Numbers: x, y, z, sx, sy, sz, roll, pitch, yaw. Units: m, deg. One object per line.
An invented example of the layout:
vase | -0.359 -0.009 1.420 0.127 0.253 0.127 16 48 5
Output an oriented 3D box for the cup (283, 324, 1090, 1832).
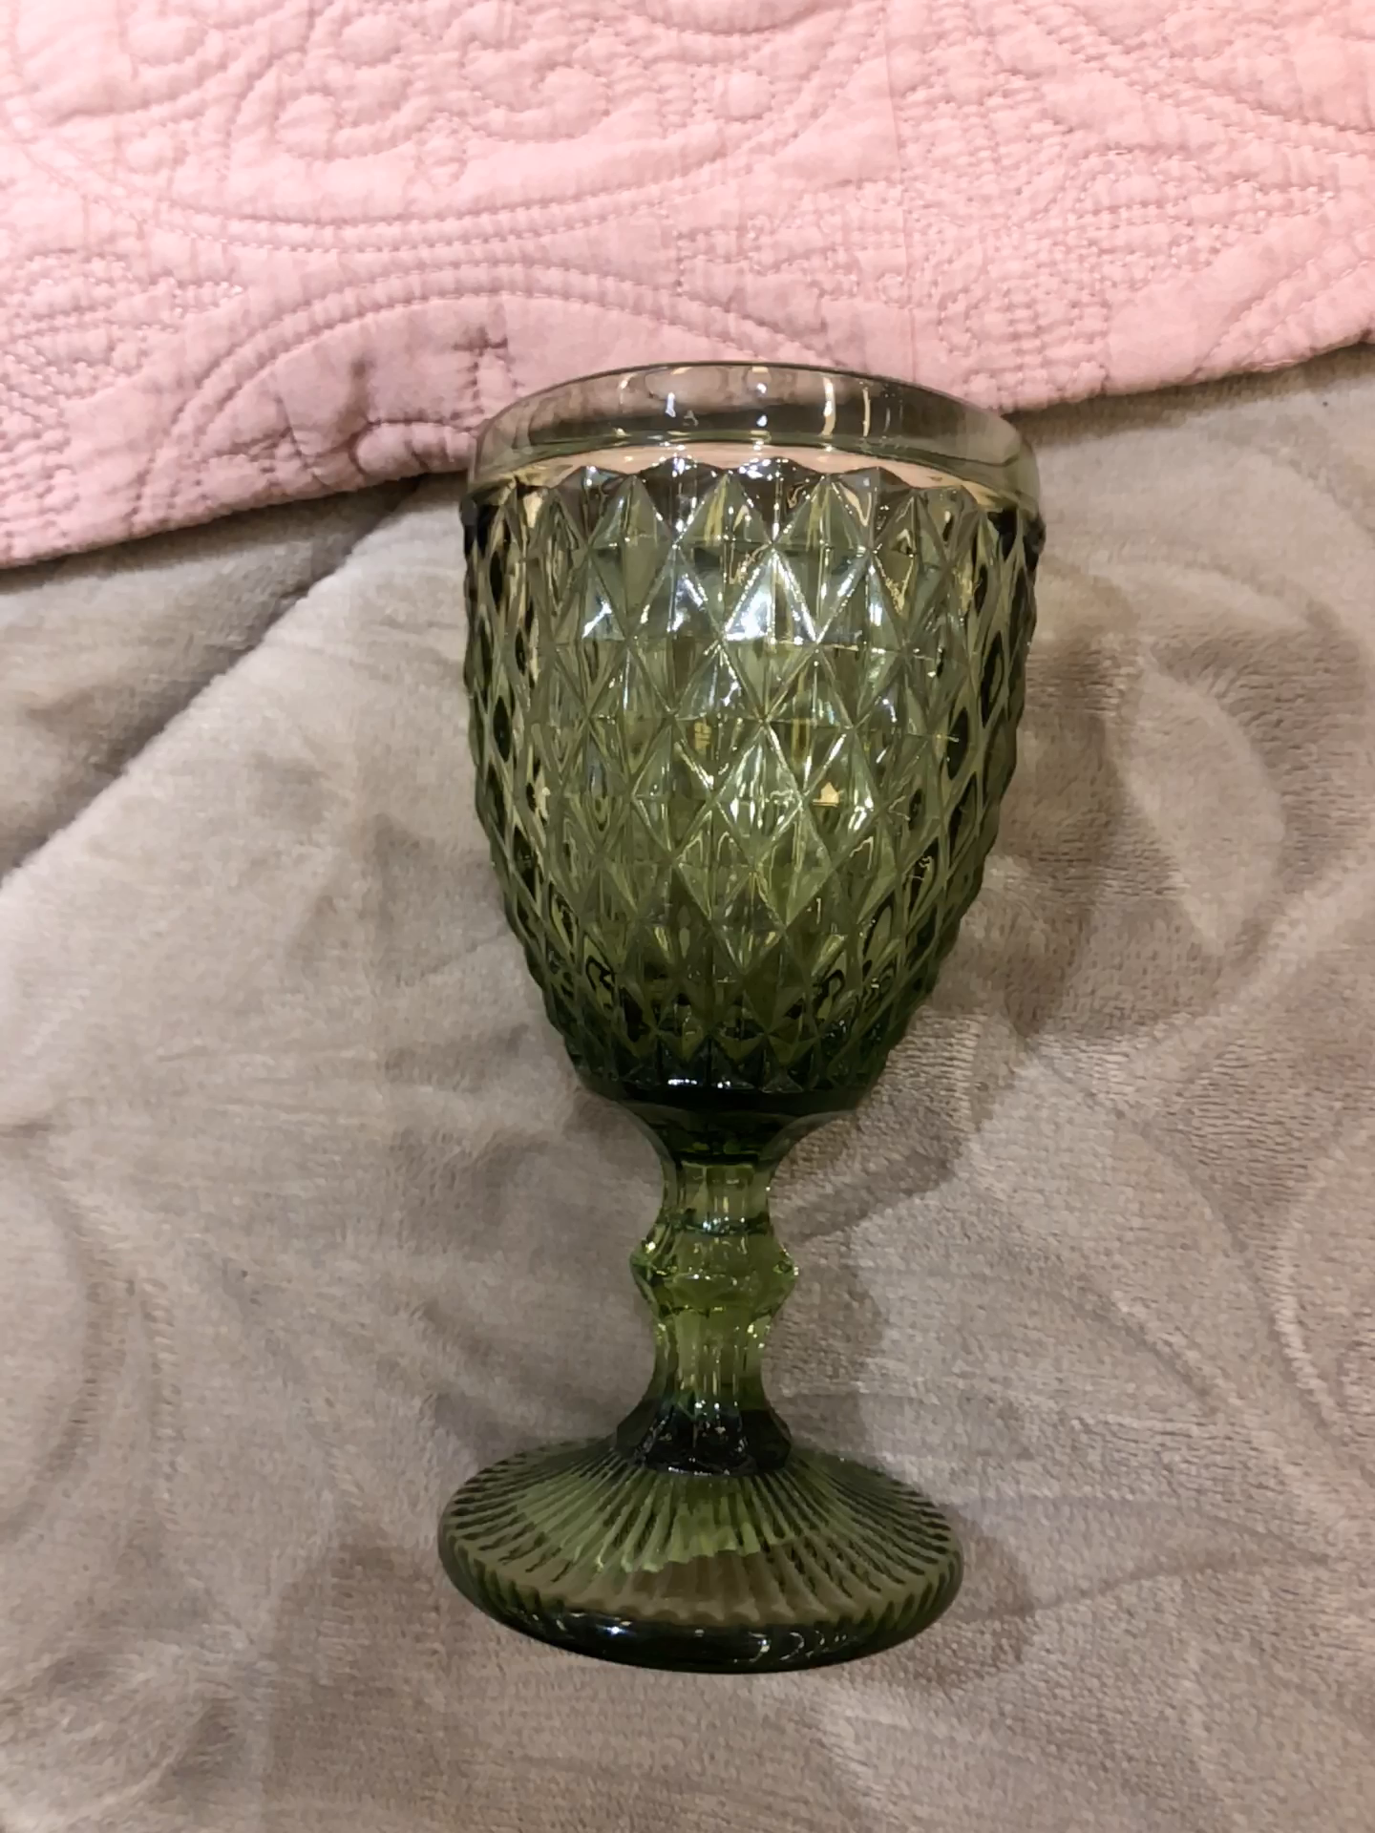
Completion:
cup | 0.007 0.022 0.230 0.090 0.080 0.190 3 84 10
